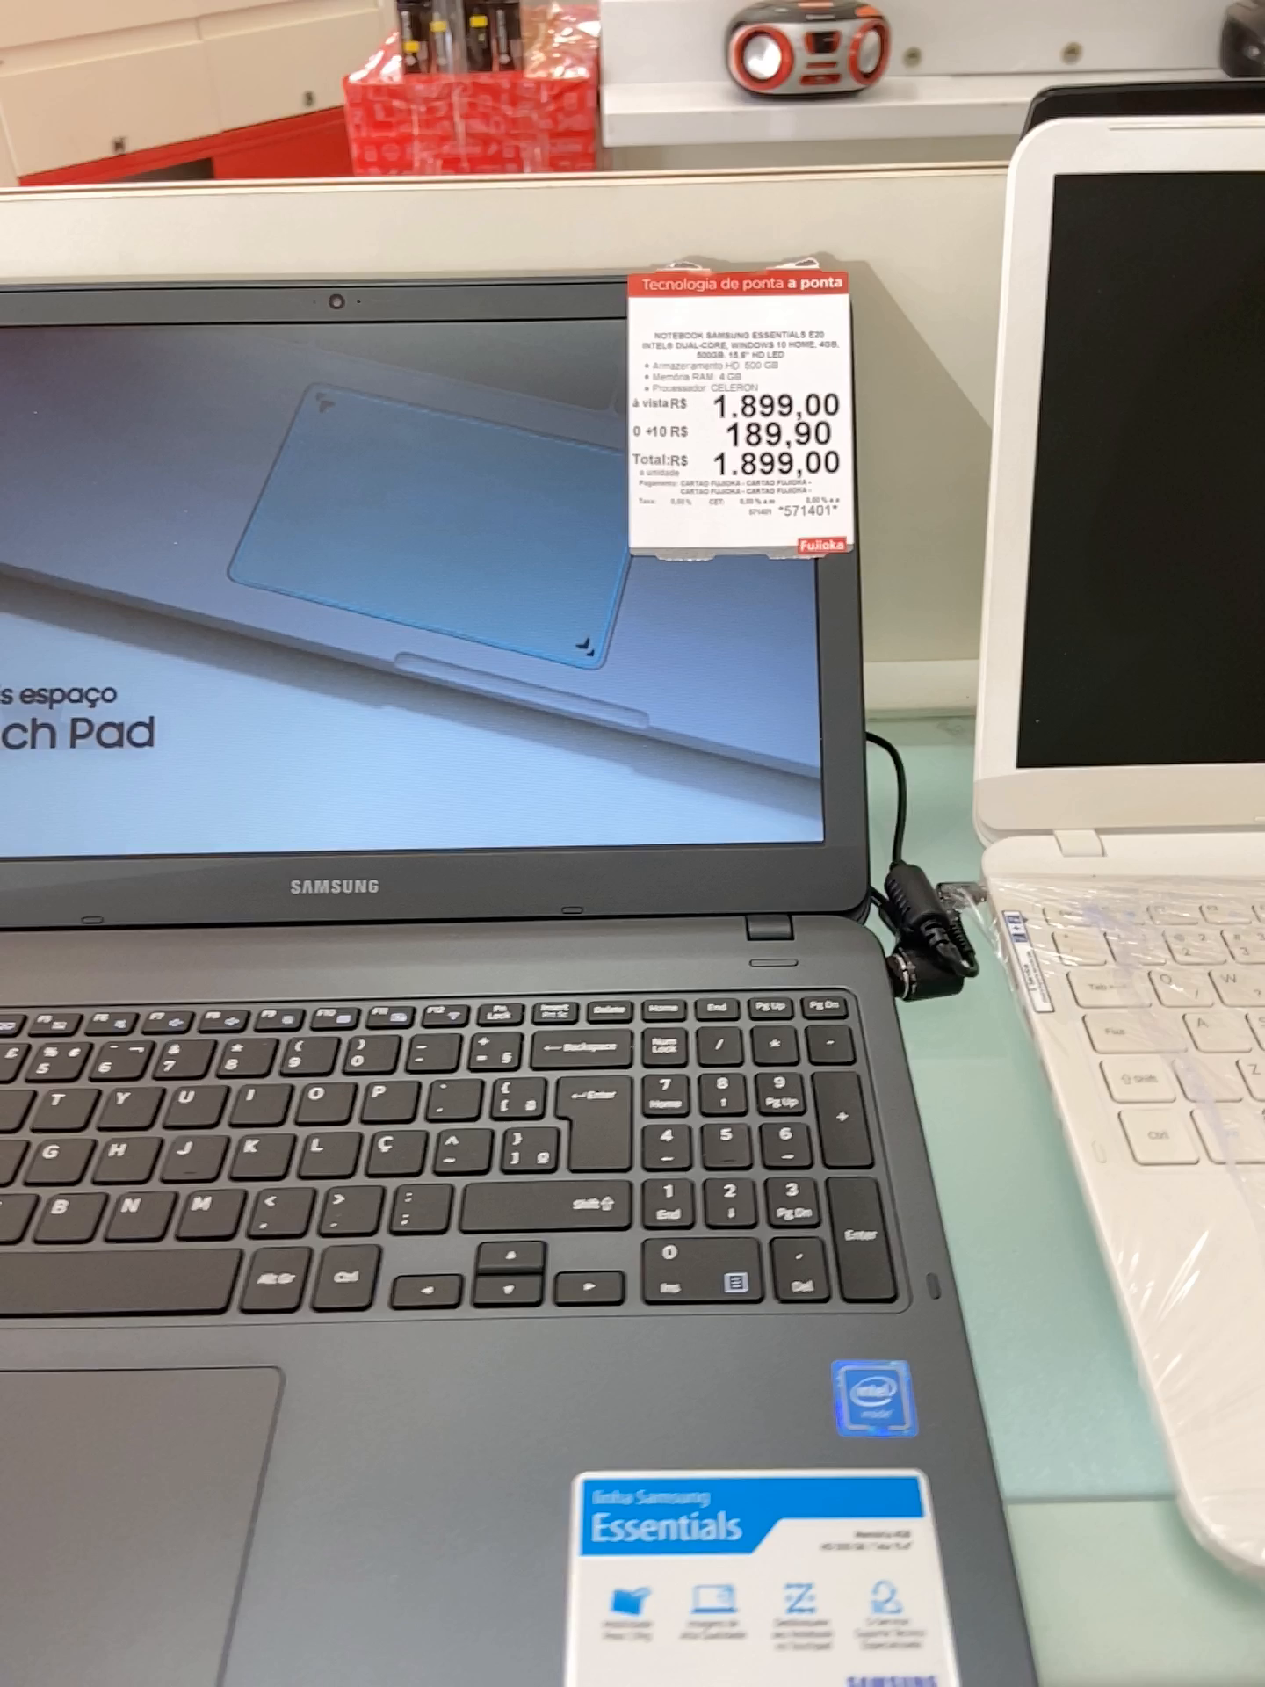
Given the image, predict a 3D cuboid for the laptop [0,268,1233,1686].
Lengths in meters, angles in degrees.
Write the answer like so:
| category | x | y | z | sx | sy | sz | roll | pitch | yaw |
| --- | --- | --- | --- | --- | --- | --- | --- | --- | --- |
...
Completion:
| category | x | y | z | sx | sy | sz | roll | pitch | yaw |
| --- | --- | --- | --- | --- | --- | --- | --- | --- | --- |
| laptop | -0.107 | -0.009 | 0.366 | 0.367 | 0.157 | 0.414 | -2 | 40 | 1 |
